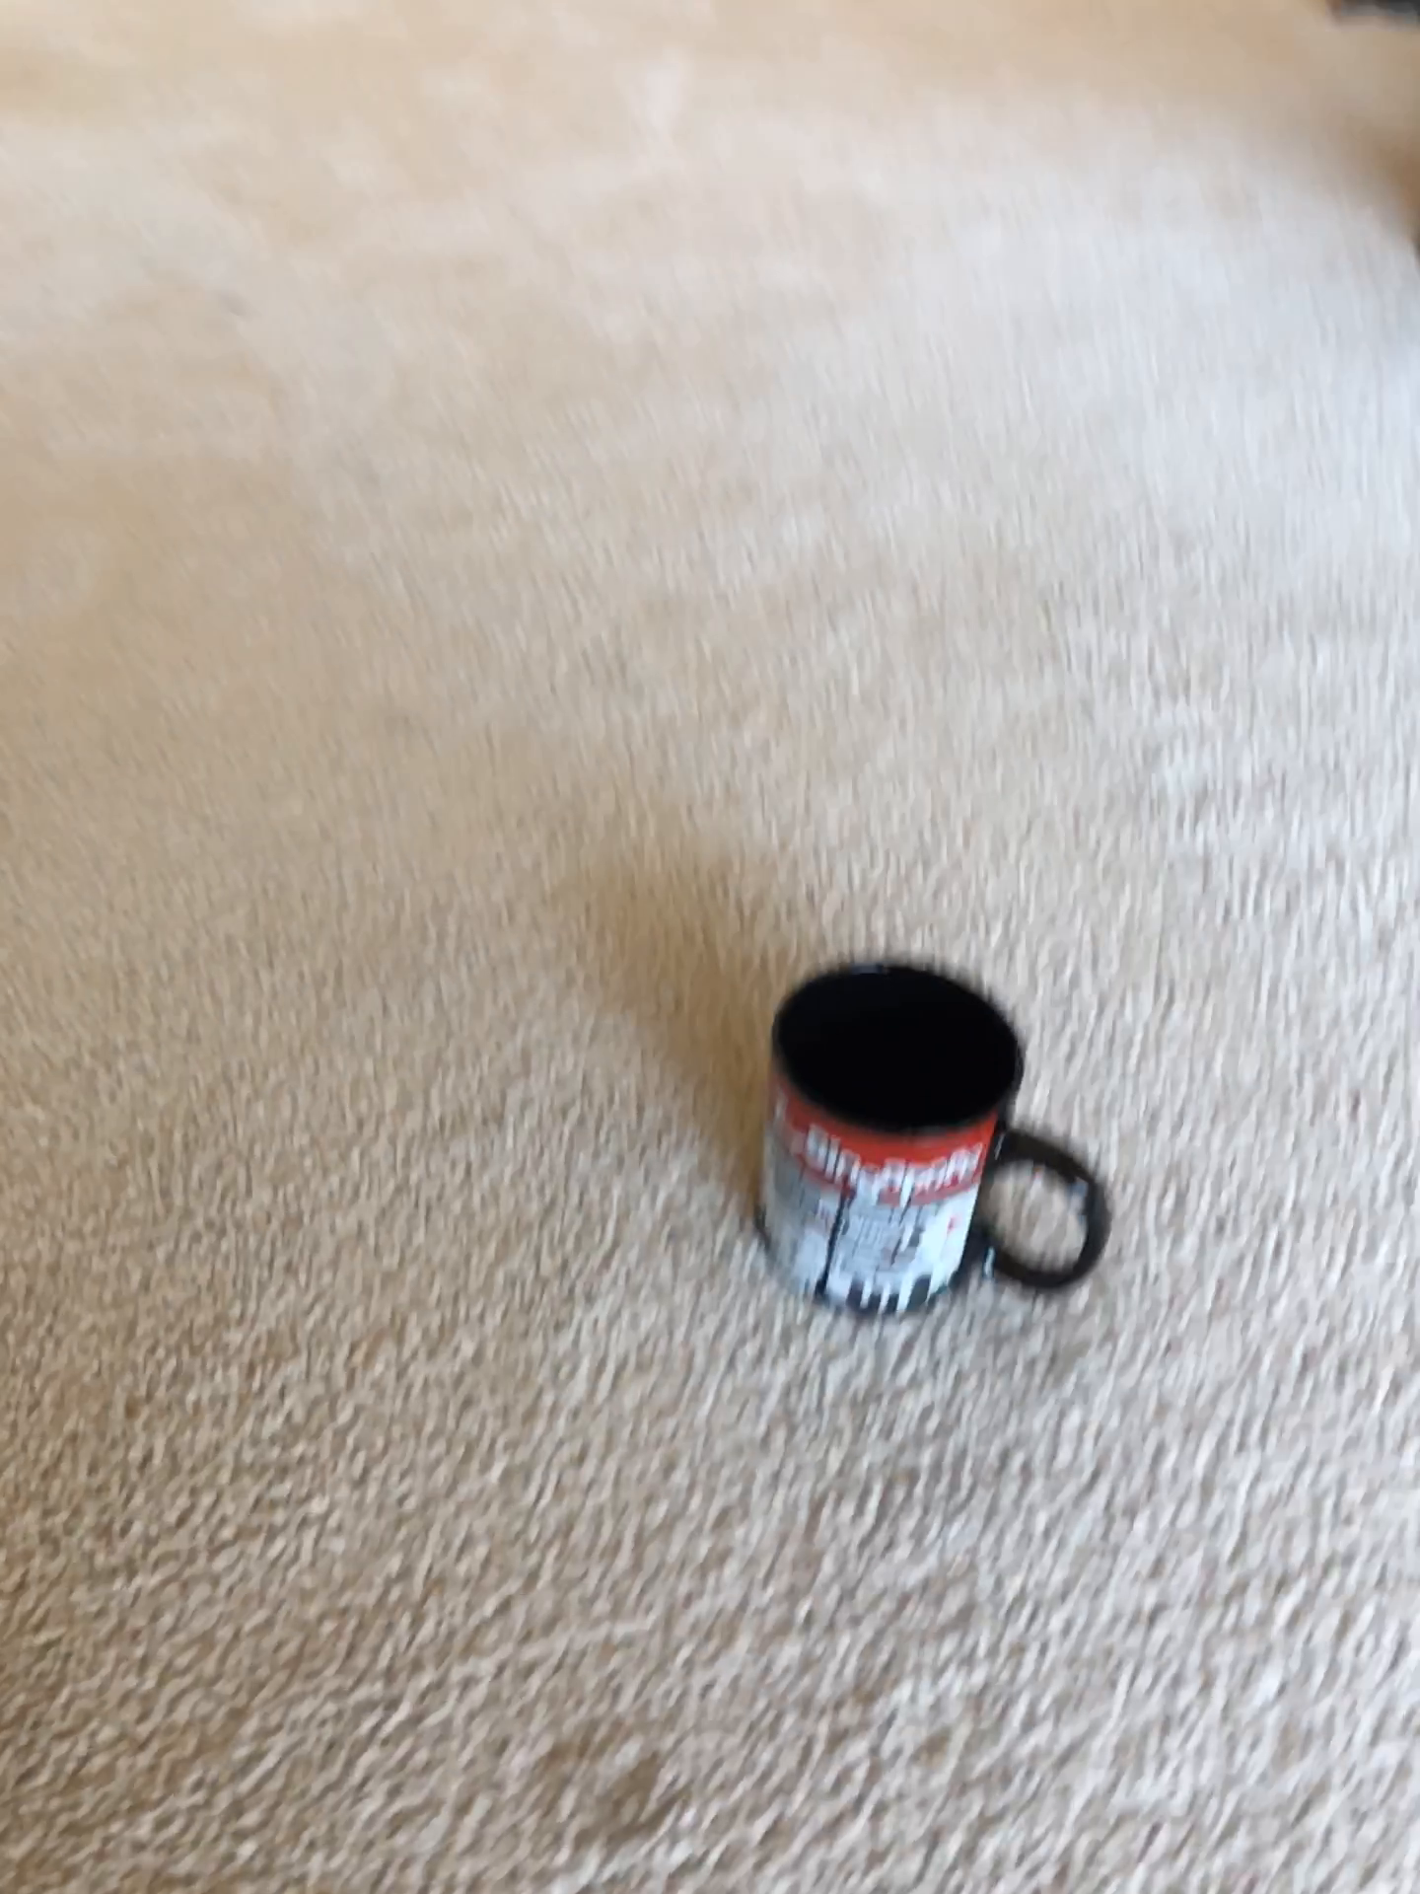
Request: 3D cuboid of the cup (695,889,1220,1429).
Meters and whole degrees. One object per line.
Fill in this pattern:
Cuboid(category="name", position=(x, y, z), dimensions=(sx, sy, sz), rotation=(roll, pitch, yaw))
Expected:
Cuboid(category="cup", position=(0.075, 0.064, 0.509), dimensions=(0.130, 0.090, 0.090), rotation=(27, 47, 25))
